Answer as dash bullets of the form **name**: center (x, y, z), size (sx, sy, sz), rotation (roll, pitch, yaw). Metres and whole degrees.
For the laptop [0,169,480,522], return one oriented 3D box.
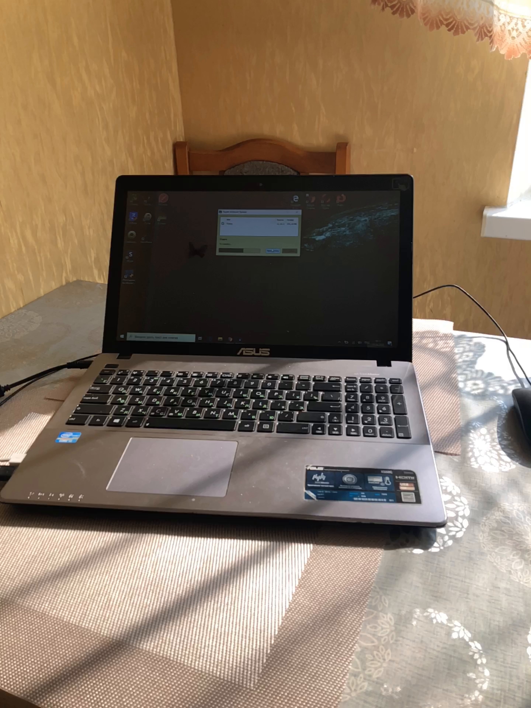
- **laptop**: center (-0.024, -0.053, 0.613), size (0.378, 0.183, 0.399), rotation (2, 30, 6)
